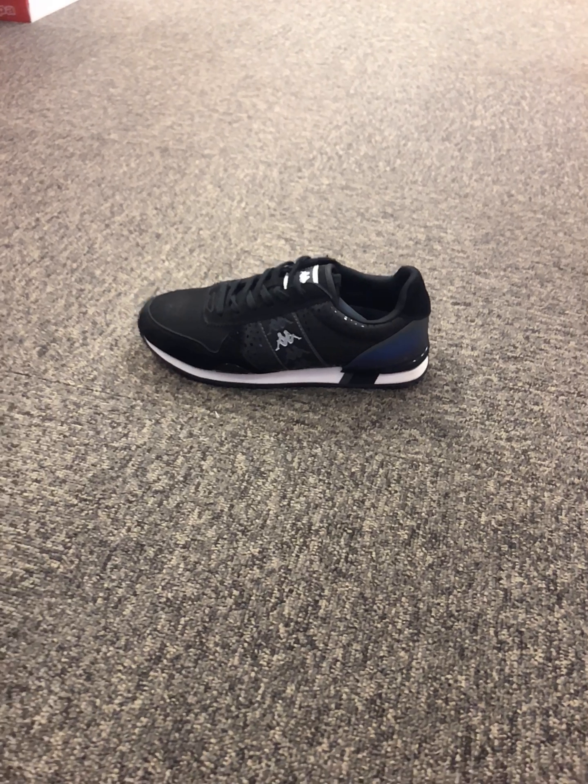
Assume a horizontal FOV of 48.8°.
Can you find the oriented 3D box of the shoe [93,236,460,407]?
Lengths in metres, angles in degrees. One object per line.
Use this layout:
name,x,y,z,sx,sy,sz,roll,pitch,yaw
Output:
shoe,-0.010,-0.062,0.545,0.274,0.089,0.101,3,43,6
